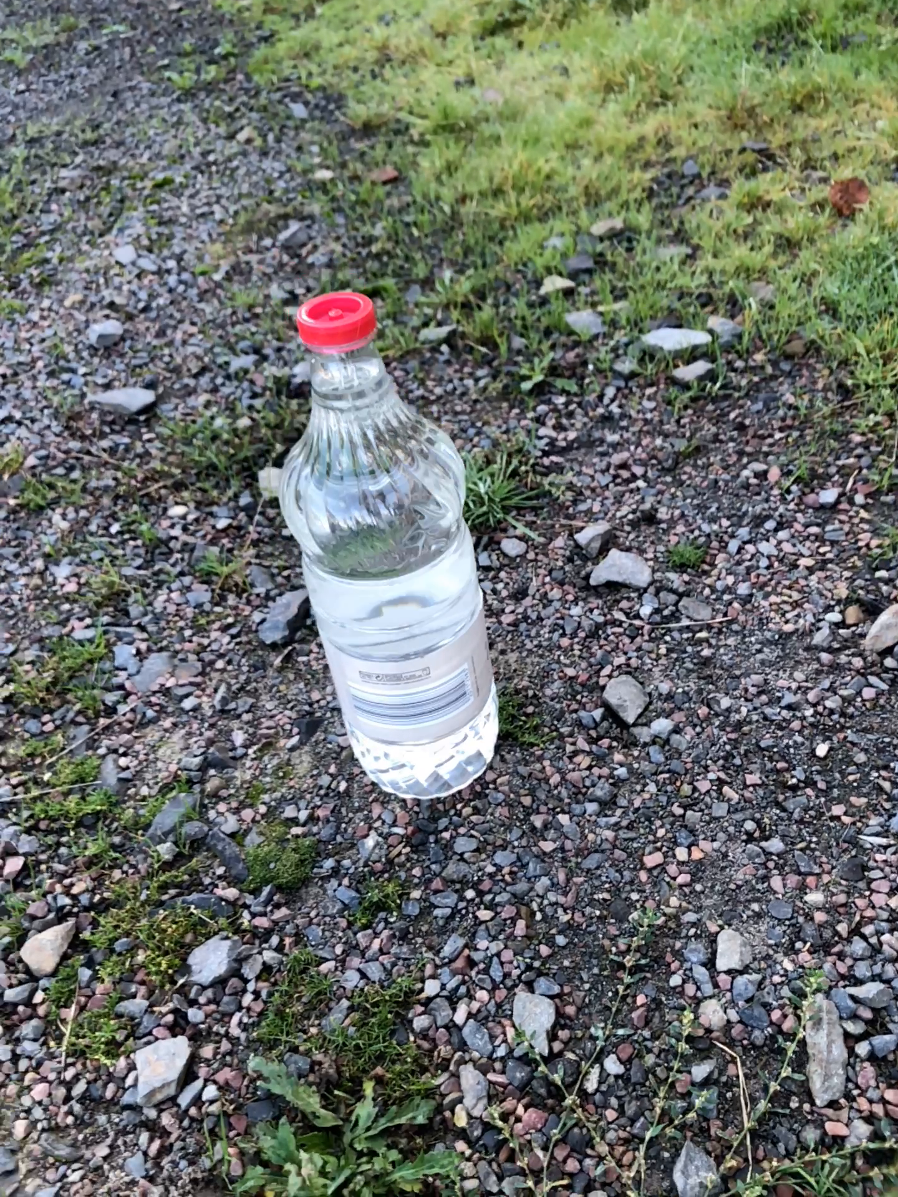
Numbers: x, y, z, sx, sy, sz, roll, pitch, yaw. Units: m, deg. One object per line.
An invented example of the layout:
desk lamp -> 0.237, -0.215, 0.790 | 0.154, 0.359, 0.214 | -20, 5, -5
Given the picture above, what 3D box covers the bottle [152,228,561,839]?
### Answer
bottle -> -0.029, -0.022, 0.460 | 0.100, 0.248, 0.100 | -7, 40, 6
